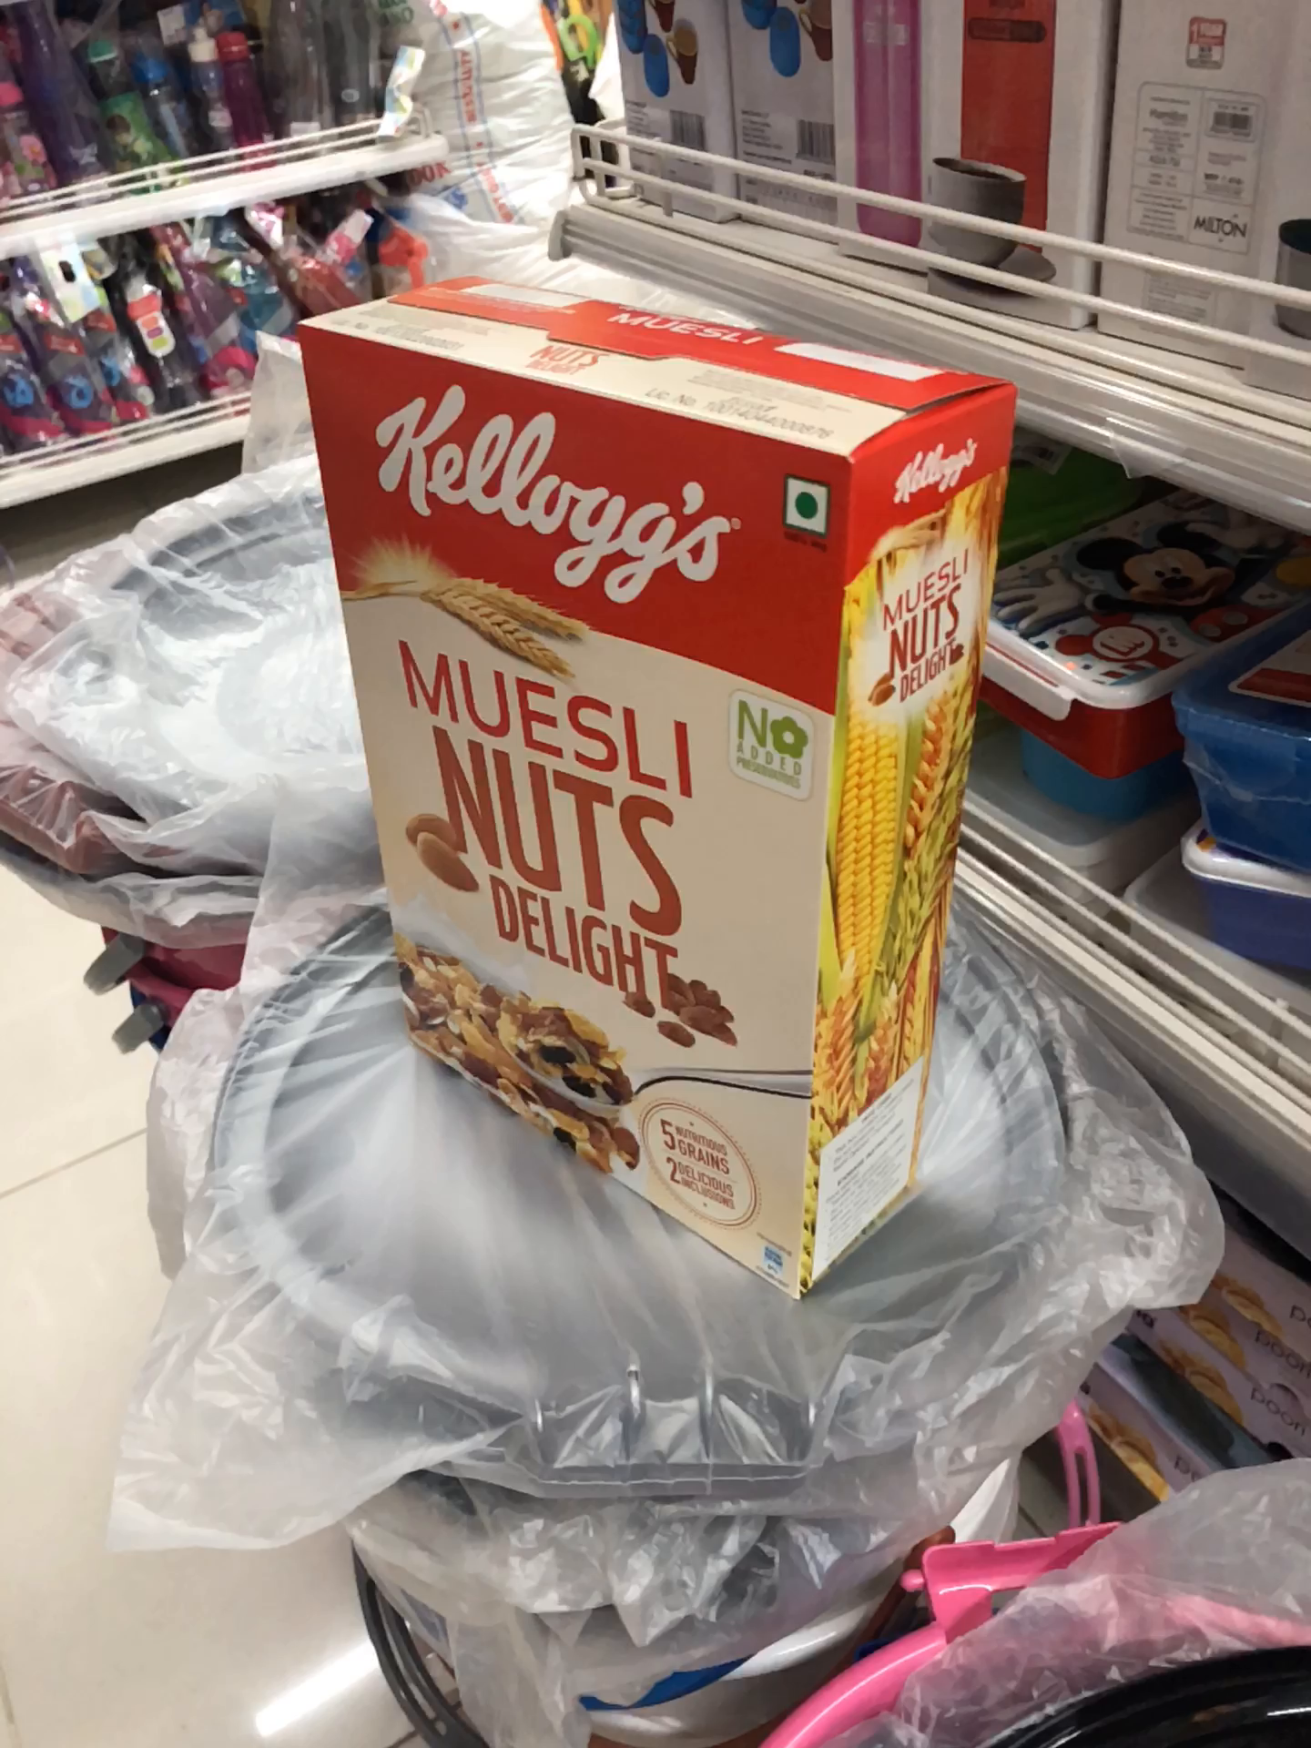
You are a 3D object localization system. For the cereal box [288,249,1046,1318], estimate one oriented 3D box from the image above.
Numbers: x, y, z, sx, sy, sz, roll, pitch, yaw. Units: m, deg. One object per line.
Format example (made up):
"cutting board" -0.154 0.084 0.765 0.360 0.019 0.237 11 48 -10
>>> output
"cereal box" -0.006 -0.029 0.430 0.191 0.259 0.070 27 42 35
